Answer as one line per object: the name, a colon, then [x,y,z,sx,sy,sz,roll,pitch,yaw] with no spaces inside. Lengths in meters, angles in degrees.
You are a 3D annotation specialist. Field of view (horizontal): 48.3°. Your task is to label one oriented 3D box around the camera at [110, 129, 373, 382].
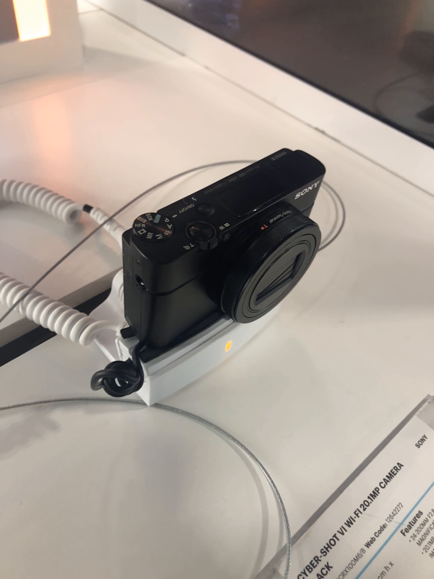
camera: [0.012,-0.019,0.213,0.109,0.060,0.040,-33,59,-31]
